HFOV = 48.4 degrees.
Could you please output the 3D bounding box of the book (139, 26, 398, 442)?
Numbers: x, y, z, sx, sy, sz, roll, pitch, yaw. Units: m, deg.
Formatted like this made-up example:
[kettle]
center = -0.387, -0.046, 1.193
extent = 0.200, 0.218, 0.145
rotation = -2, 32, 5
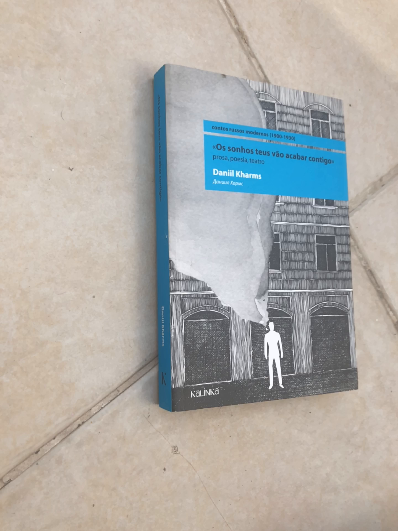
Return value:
[book]
center = 0.035, -0.014, 0.222
extent = 0.120, 0.040, 0.170
rotation = 1, 84, -24
